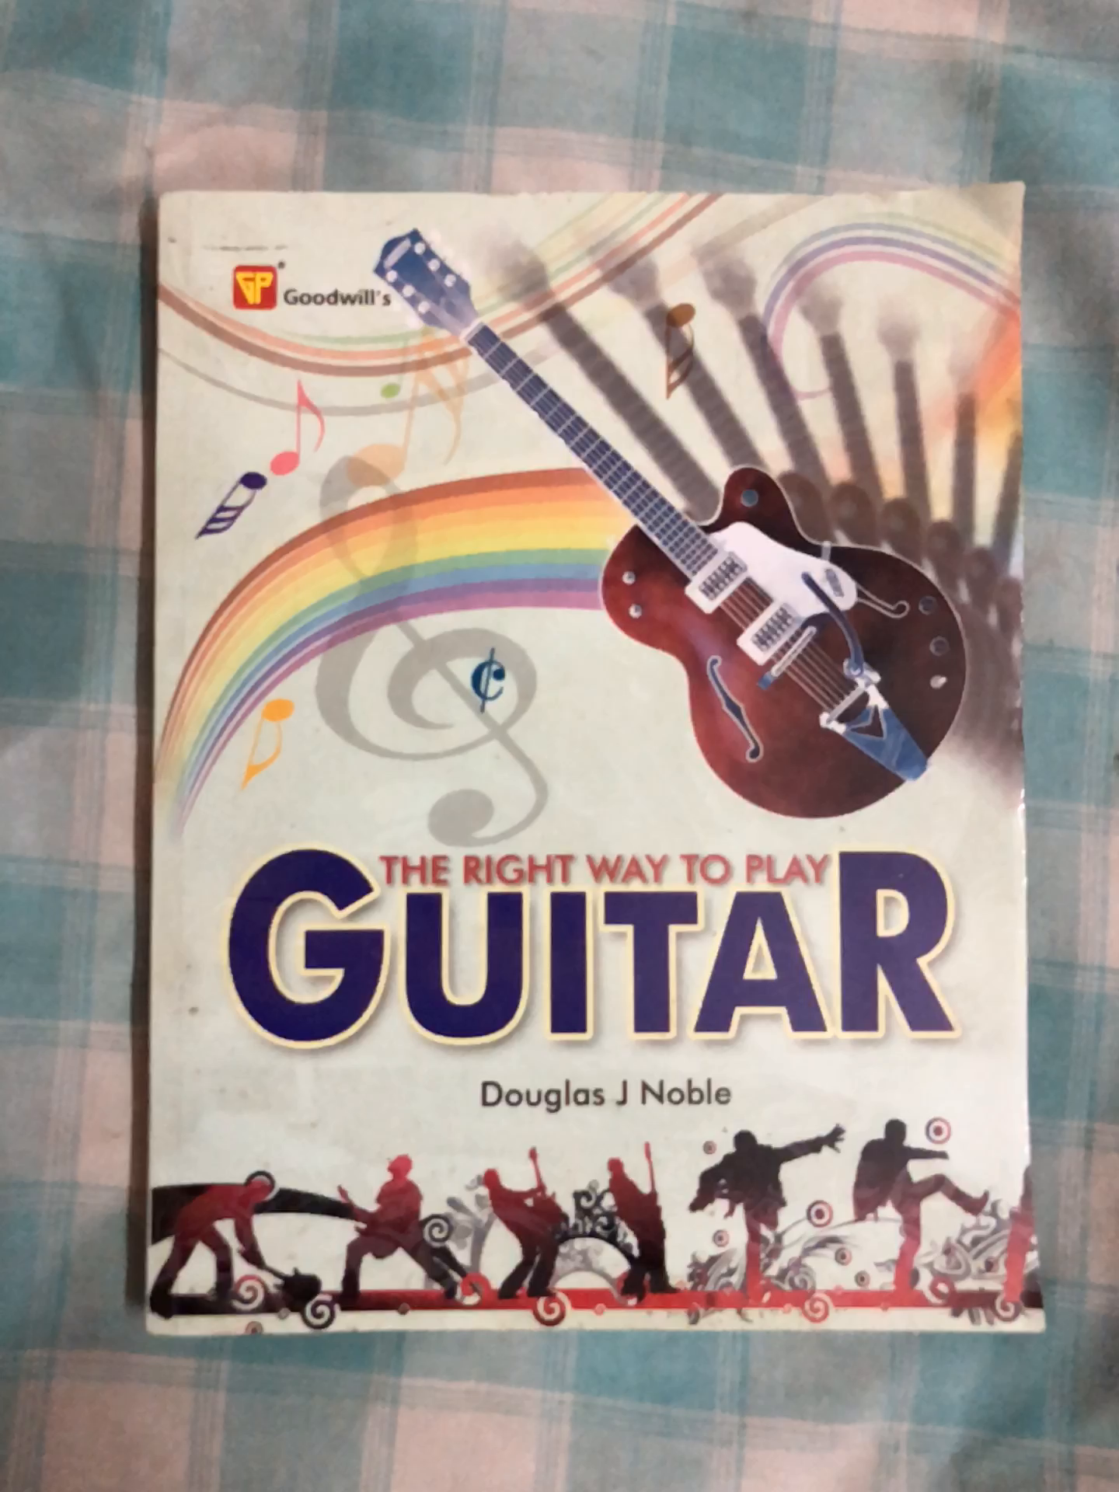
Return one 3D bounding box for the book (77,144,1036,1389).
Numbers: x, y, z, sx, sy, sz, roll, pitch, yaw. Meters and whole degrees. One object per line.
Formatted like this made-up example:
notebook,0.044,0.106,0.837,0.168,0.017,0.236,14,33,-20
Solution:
book,-0.001,0.001,0.255,0.180,0.030,0.240,0,86,-1
